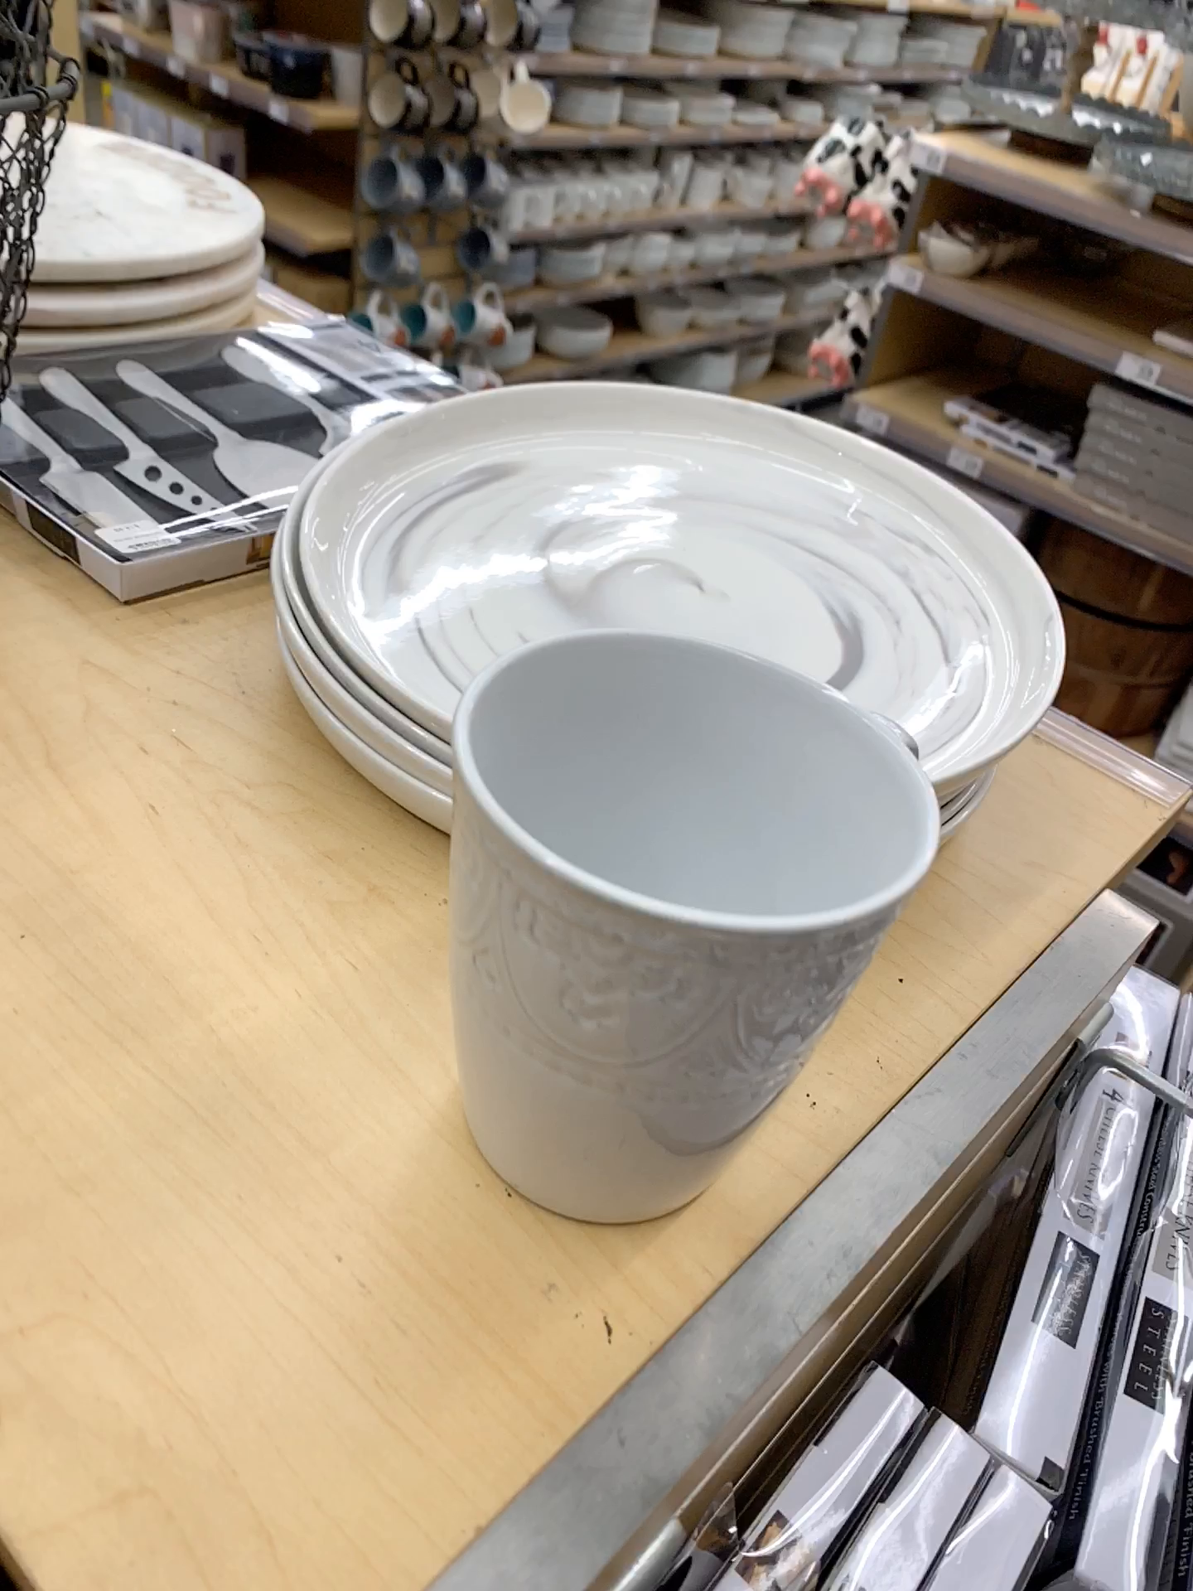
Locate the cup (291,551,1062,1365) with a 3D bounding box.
[{"bbox_3d":[0.013,0.028,0.282,0.125,0.107,0.099,-26,53,-39],"label":"cup"}]
